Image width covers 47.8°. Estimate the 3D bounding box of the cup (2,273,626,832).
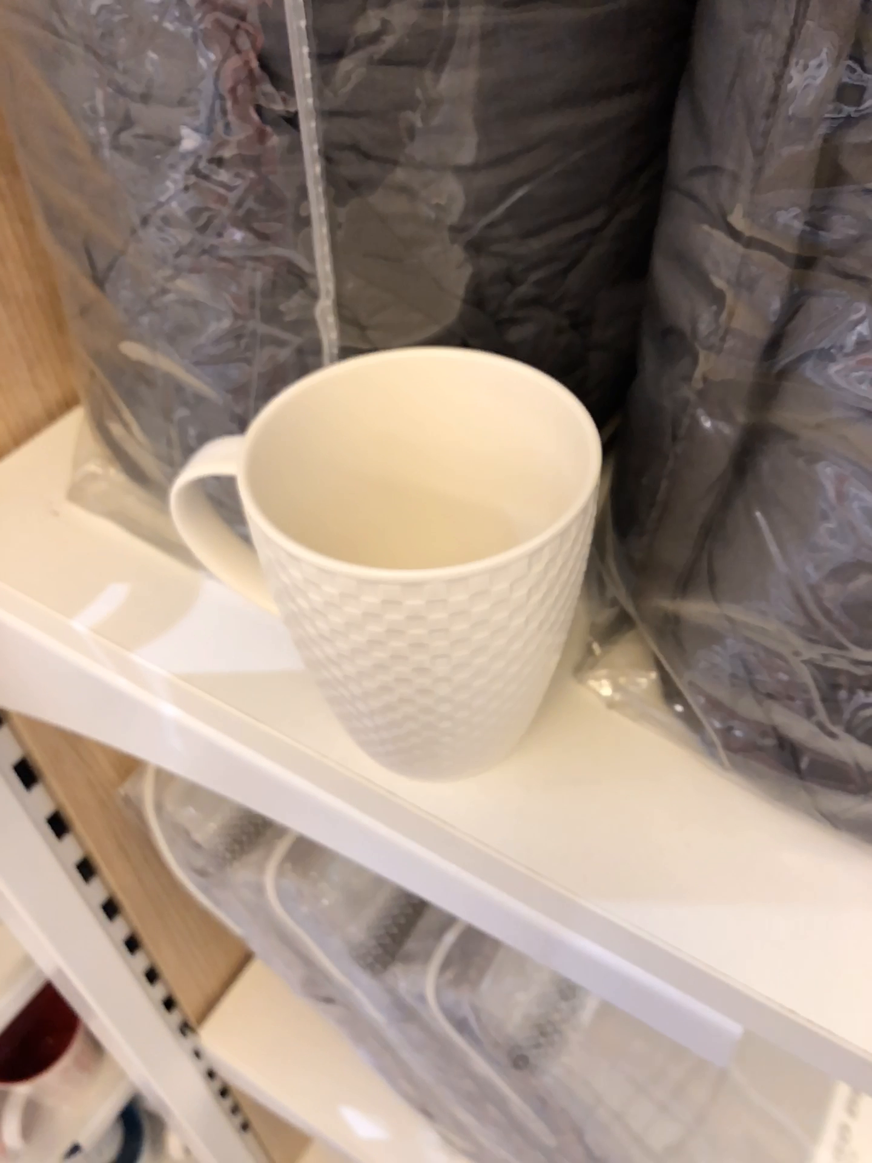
[{"bbox_3d":[-0.018,-0.008,0.236,0.110,0.089,0.081,8,47,10],"label":"cup"}]
